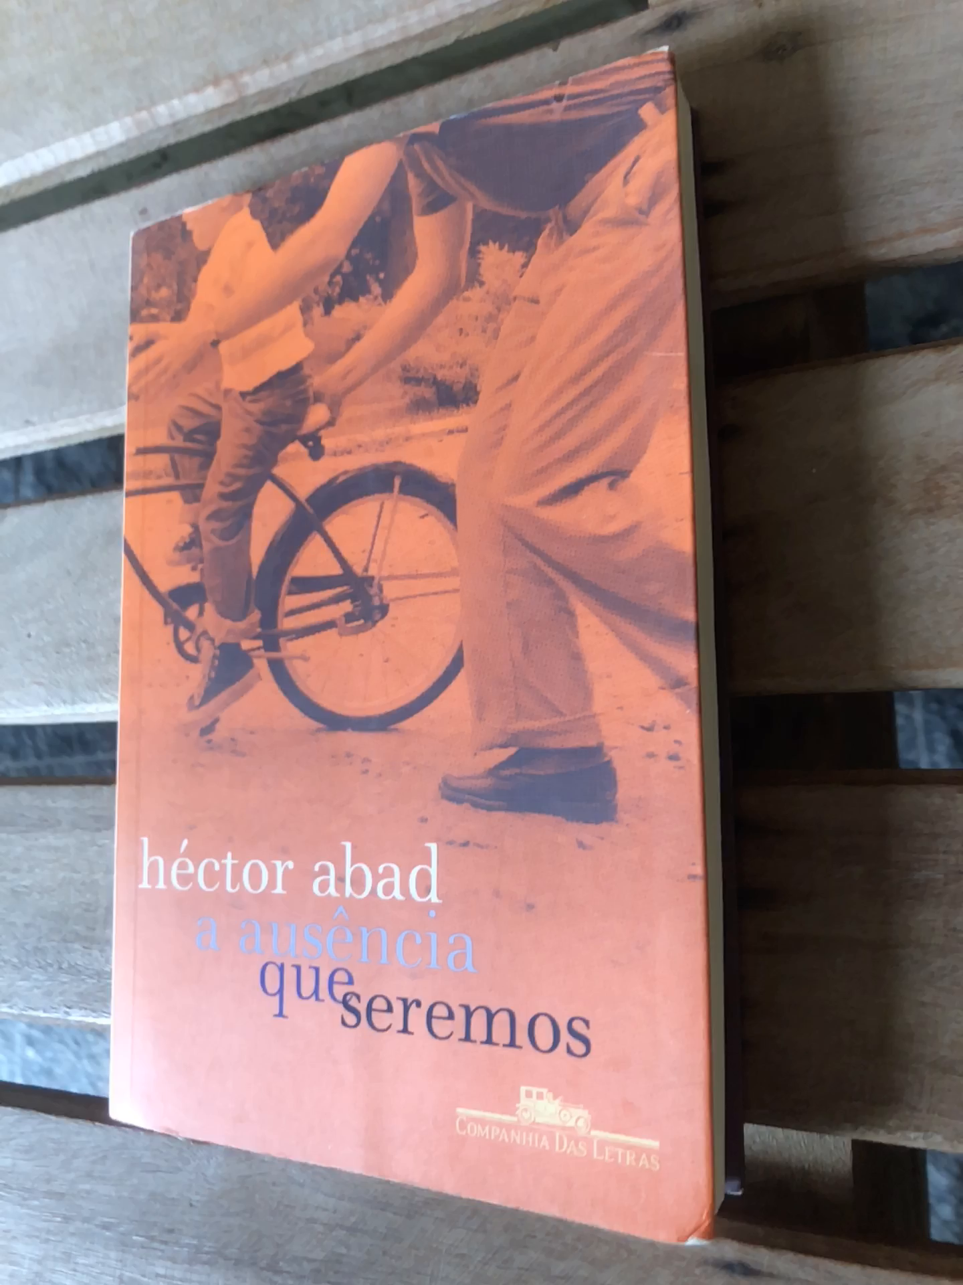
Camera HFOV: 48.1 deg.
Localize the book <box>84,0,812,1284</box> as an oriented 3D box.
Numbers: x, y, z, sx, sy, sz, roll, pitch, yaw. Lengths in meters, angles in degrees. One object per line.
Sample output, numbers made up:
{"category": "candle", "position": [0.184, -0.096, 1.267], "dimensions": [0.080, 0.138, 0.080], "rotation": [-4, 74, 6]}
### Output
{"category": "book", "position": [-0.016, -0.002, 0.209], "dimensions": [0.143, 0.020, 0.200], "rotation": [-4, 83, 29]}
